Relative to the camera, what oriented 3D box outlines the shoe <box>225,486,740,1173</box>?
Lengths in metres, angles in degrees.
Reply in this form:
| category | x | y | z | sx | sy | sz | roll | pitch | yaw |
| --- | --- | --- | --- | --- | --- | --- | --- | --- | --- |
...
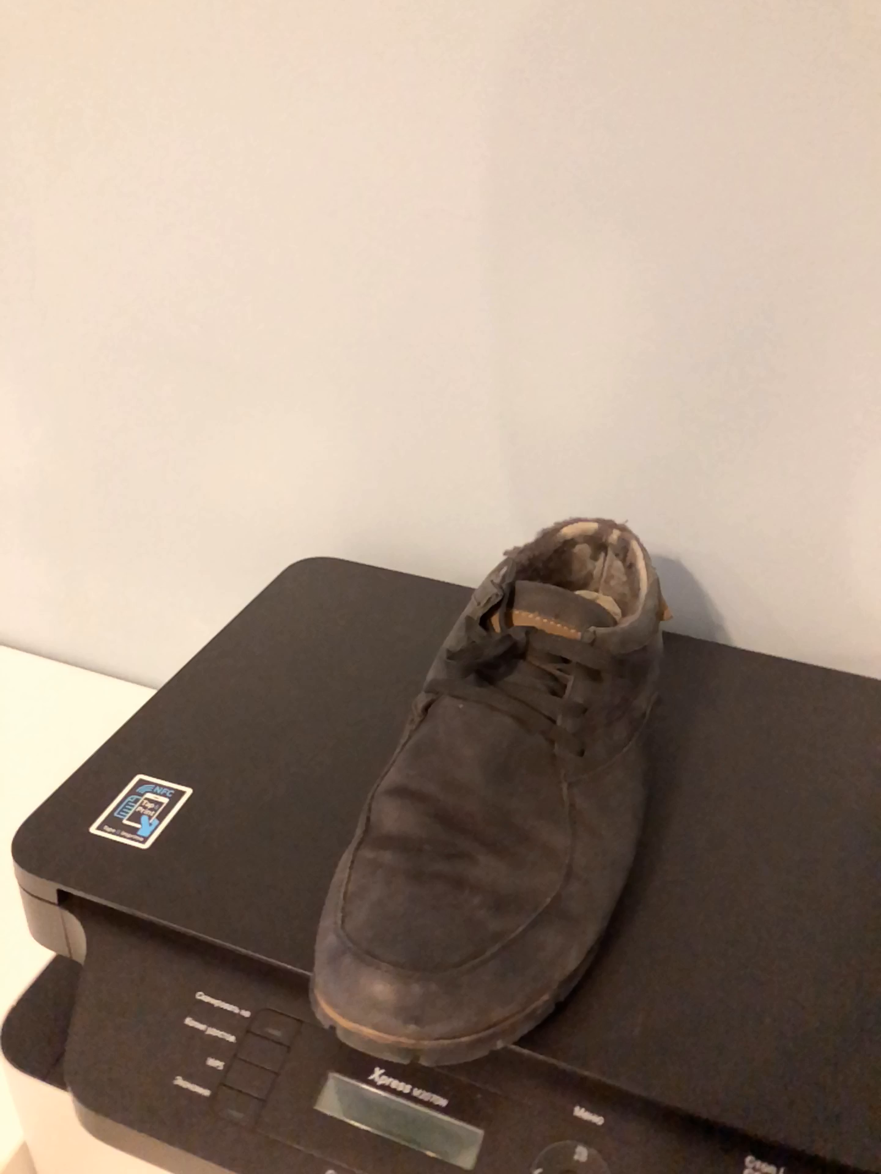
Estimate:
| category | x | y | z | sx | sy | sz | roll | pitch | yaw |
| --- | --- | --- | --- | --- | --- | --- | --- | --- | --- |
| shoe | 0.039 | 0.072 | 0.417 | 0.110 | 0.109 | 0.282 | 15 | 34 | 19 |
